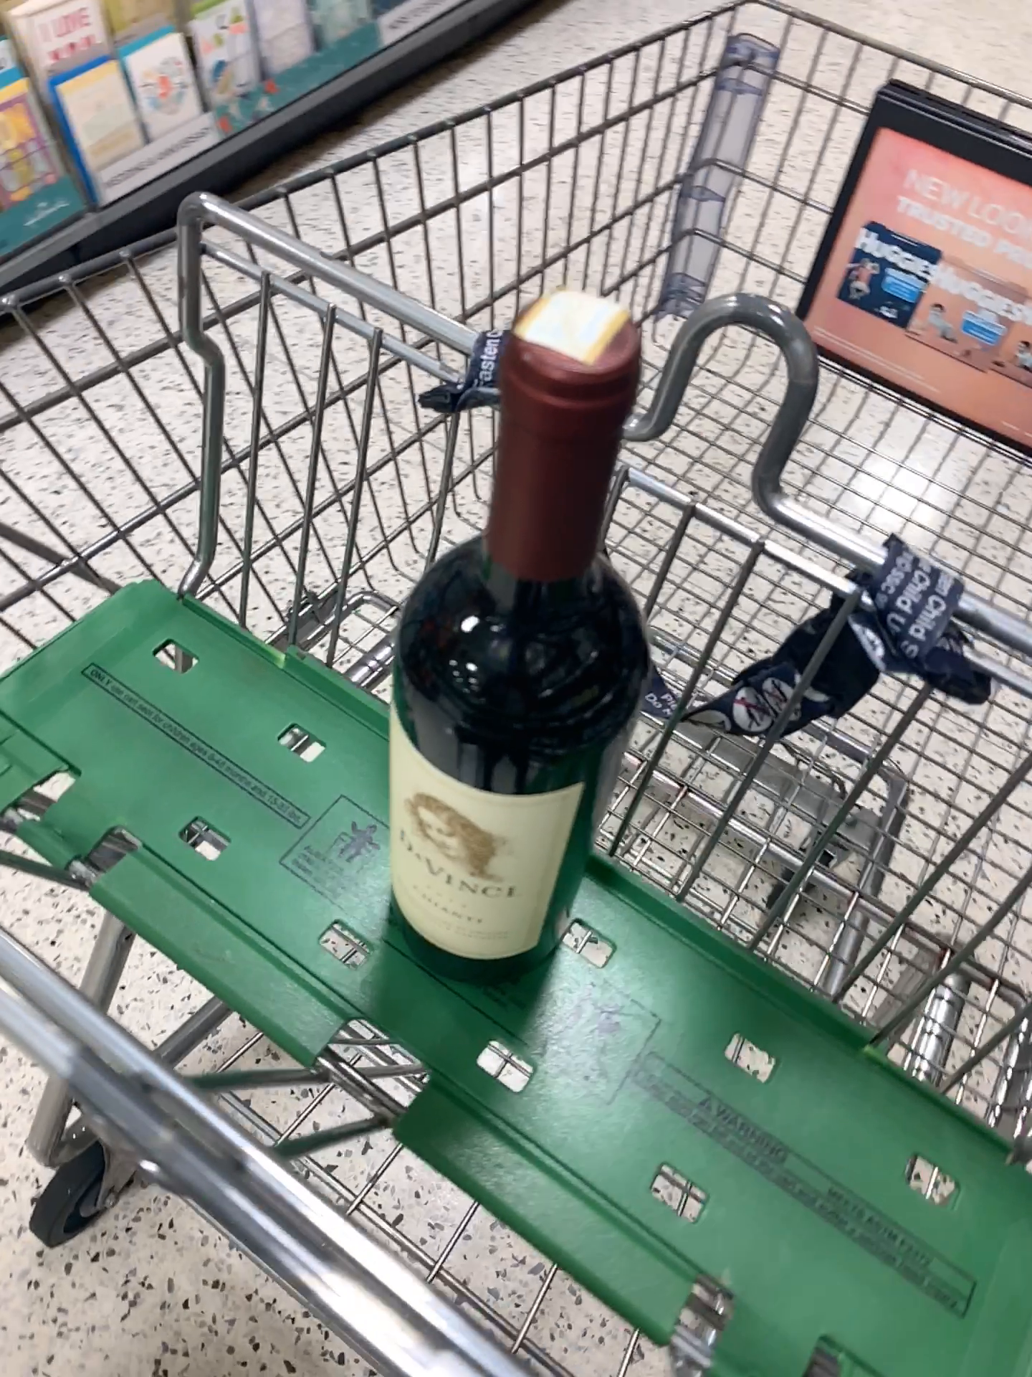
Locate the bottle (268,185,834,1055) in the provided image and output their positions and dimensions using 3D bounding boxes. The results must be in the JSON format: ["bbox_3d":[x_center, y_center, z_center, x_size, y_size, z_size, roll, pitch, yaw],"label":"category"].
[{"bbox_3d":[-0.003,0.012,0.311,0.080,0.268,0.081,3,54,-4],"label":"bottle"}]
